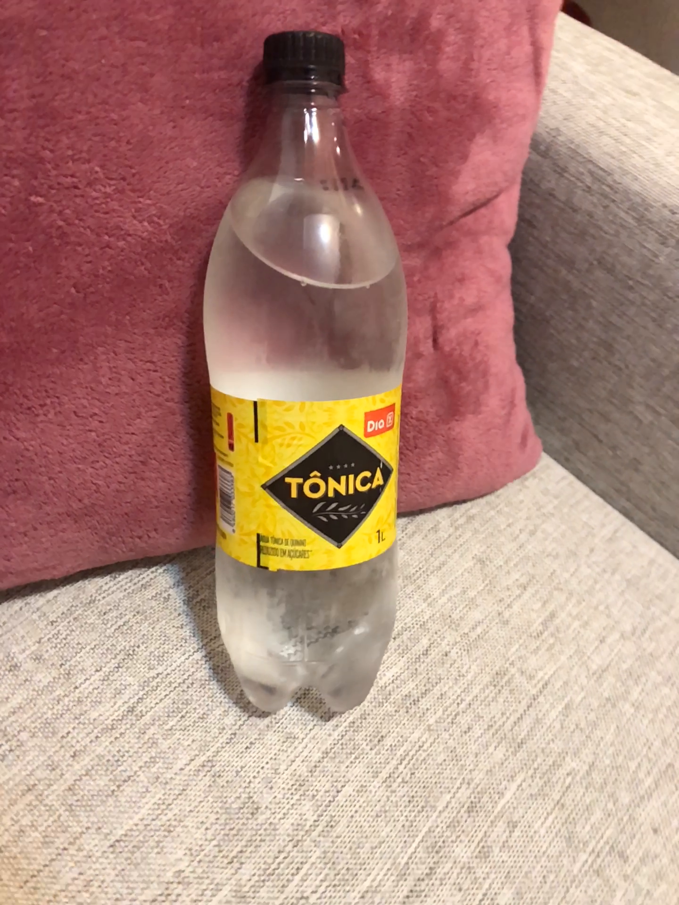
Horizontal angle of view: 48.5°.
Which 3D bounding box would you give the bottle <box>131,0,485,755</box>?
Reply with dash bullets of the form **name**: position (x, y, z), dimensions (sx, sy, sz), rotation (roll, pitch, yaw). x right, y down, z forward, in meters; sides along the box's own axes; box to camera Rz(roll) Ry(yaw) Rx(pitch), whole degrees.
- **bottle**: position (-0.020, -0.027, 0.323), dimensions (0.100, 0.269, 0.100), rotation (1, 19, 0)
